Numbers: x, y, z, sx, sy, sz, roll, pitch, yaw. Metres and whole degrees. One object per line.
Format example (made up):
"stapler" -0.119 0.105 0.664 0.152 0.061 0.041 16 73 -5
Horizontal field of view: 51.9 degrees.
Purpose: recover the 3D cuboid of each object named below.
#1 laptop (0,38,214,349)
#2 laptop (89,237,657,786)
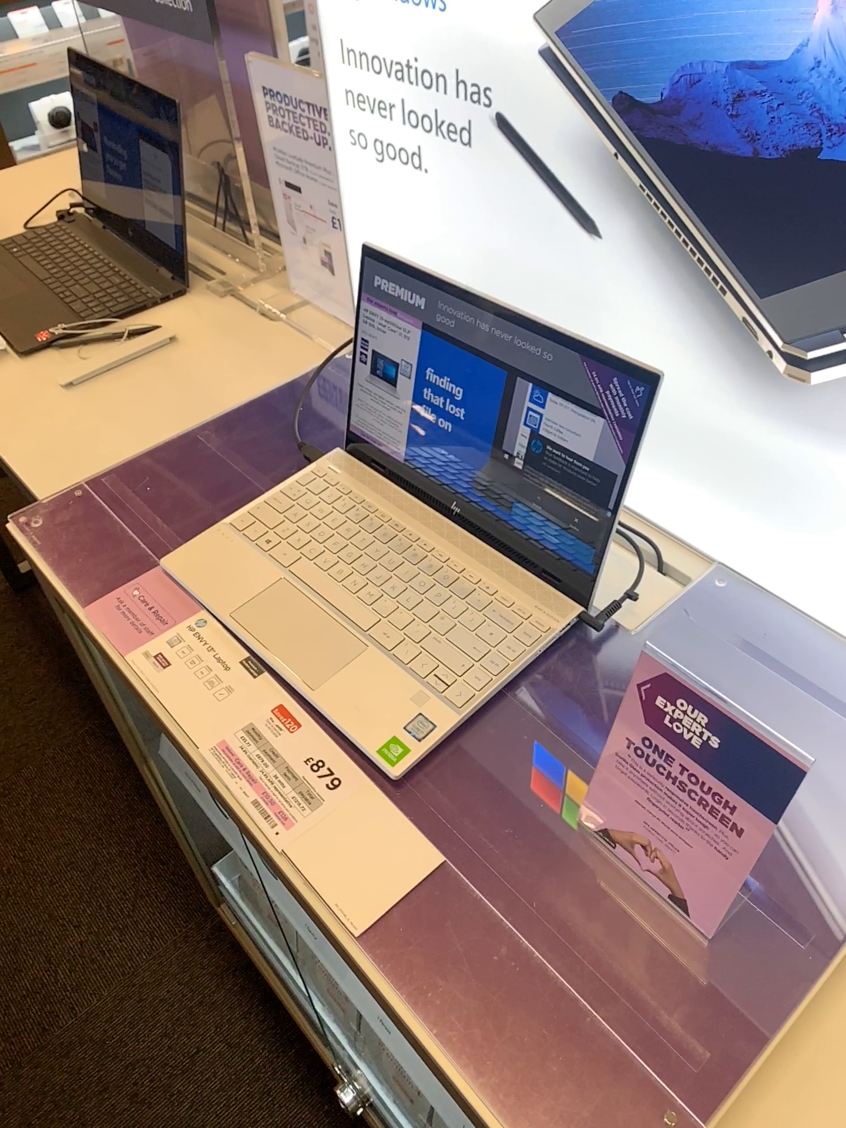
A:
"laptop" -0.542 -0.540 1.241 0.313 0.236 0.300 -36 55 -26
"laptop" -0.035 -0.063 0.649 0.261 0.181 0.296 -36 53 -27
